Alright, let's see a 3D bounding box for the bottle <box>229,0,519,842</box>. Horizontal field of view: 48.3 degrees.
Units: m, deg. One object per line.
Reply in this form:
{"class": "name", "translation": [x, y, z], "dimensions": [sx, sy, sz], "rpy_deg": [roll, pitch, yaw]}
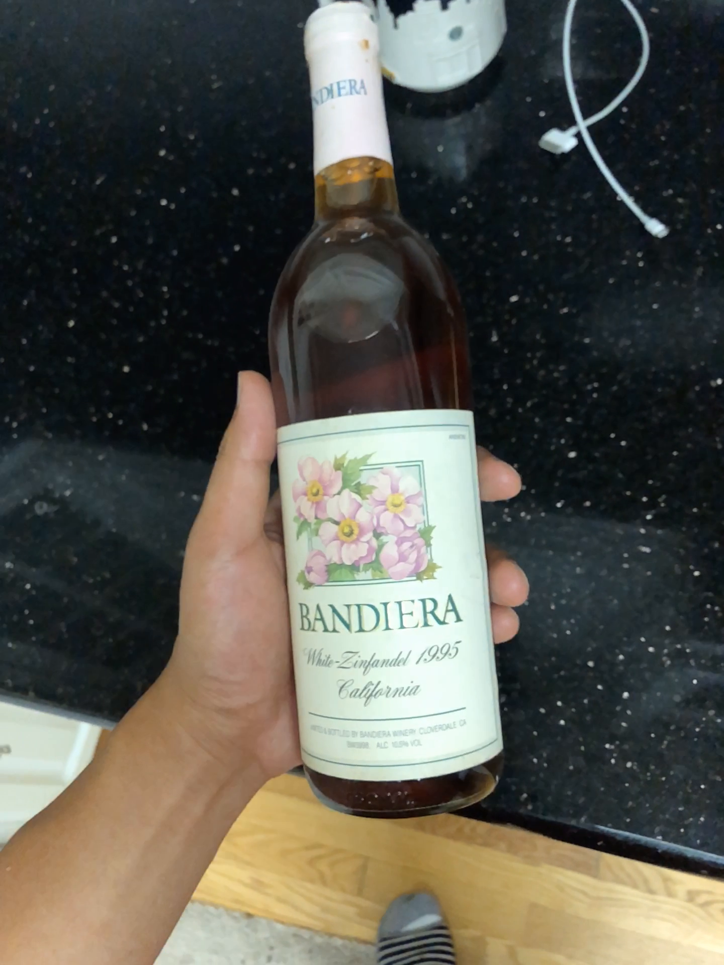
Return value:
{"class": "bottle", "translation": [0.008, -0.031, 0.307], "dimensions": [0.080, 0.070, 0.300], "rpy_deg": [-4, 87, 11]}
